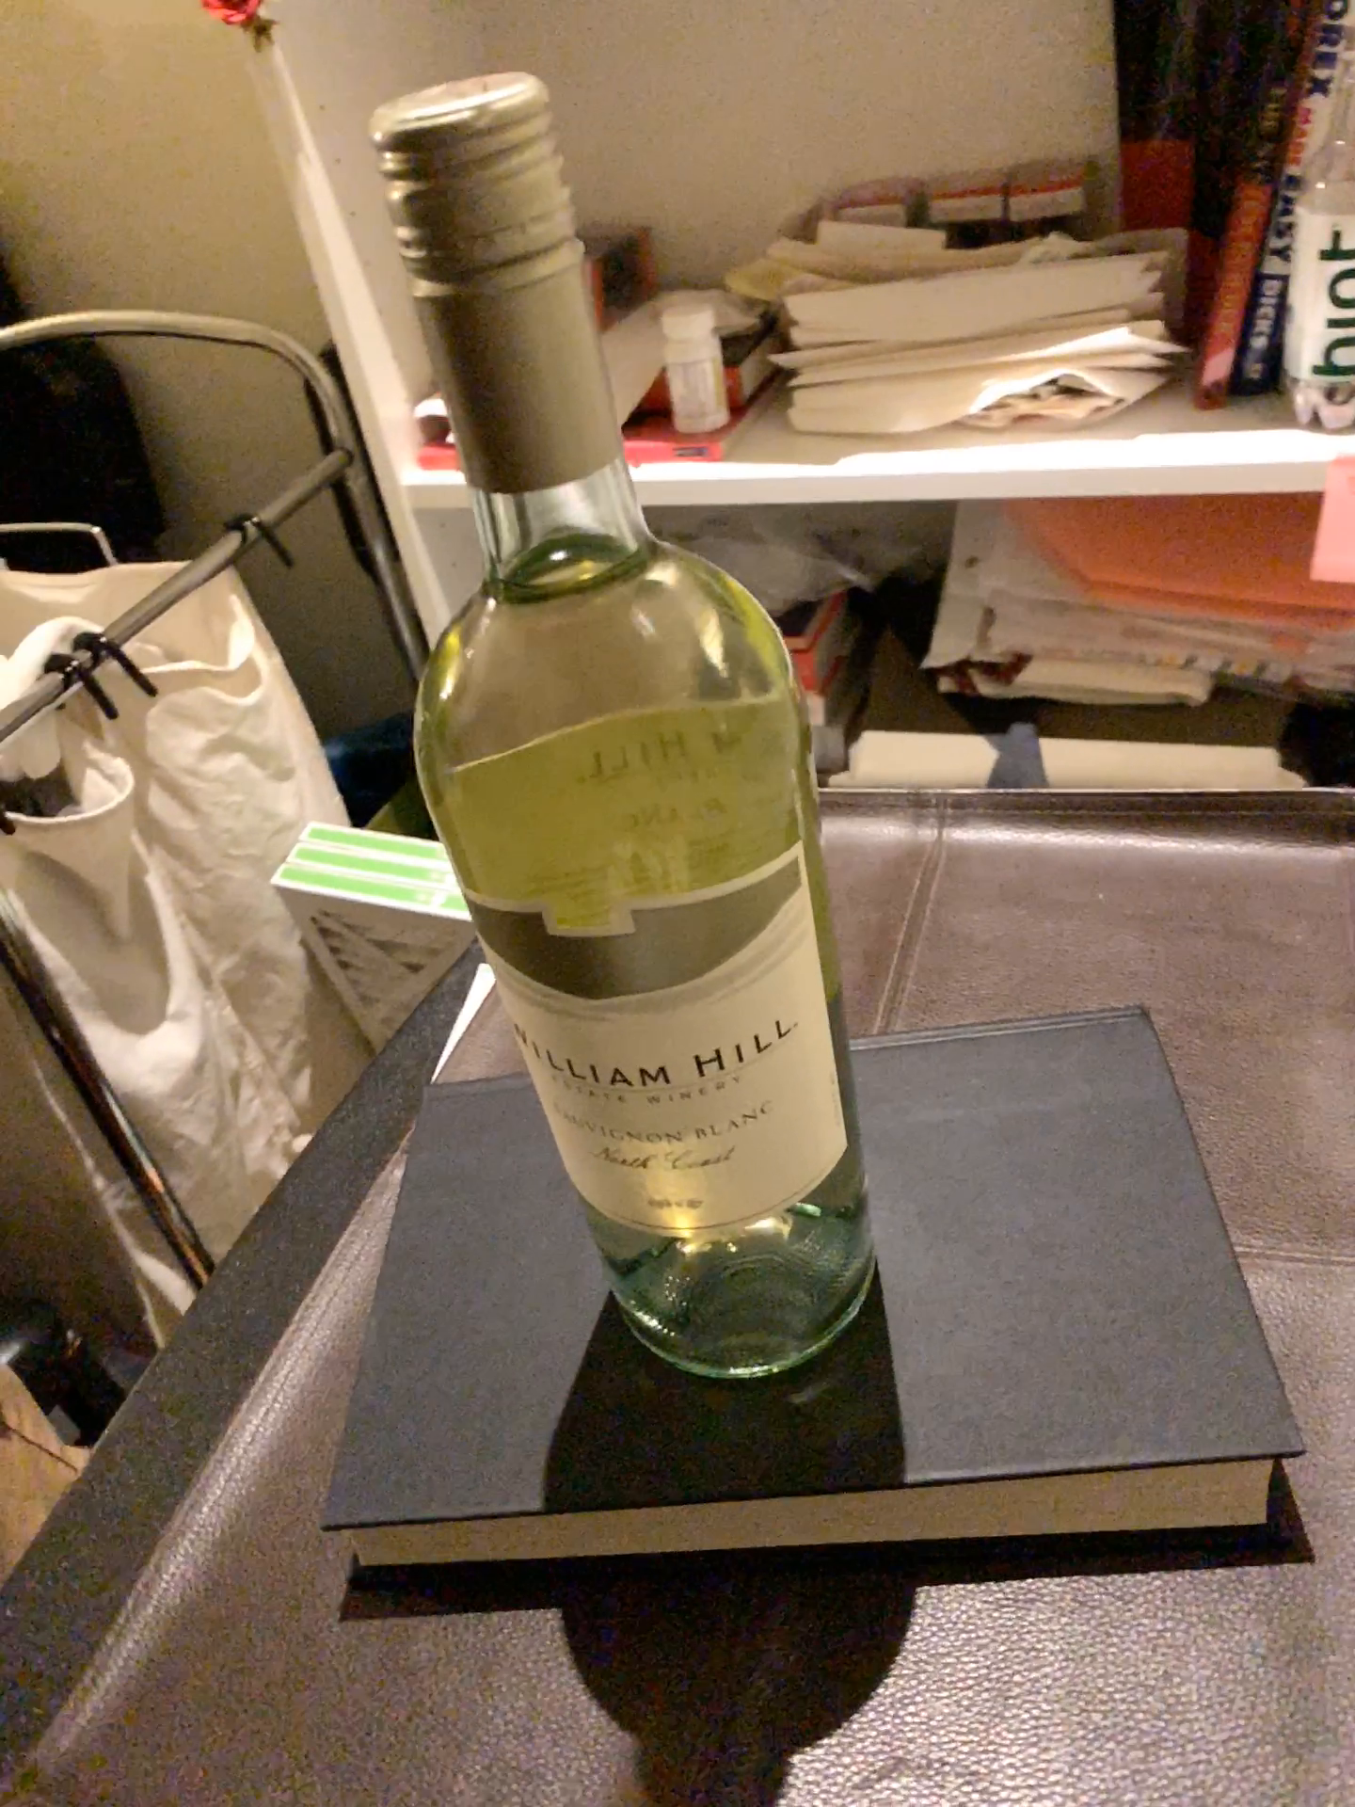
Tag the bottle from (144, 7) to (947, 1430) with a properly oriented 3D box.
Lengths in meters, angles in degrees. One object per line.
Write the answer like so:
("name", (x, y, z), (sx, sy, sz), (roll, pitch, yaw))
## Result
("bottle", (0.001, -0.014, 0.315), (0.090, 0.298, 0.090), (-8, 36, 6))
